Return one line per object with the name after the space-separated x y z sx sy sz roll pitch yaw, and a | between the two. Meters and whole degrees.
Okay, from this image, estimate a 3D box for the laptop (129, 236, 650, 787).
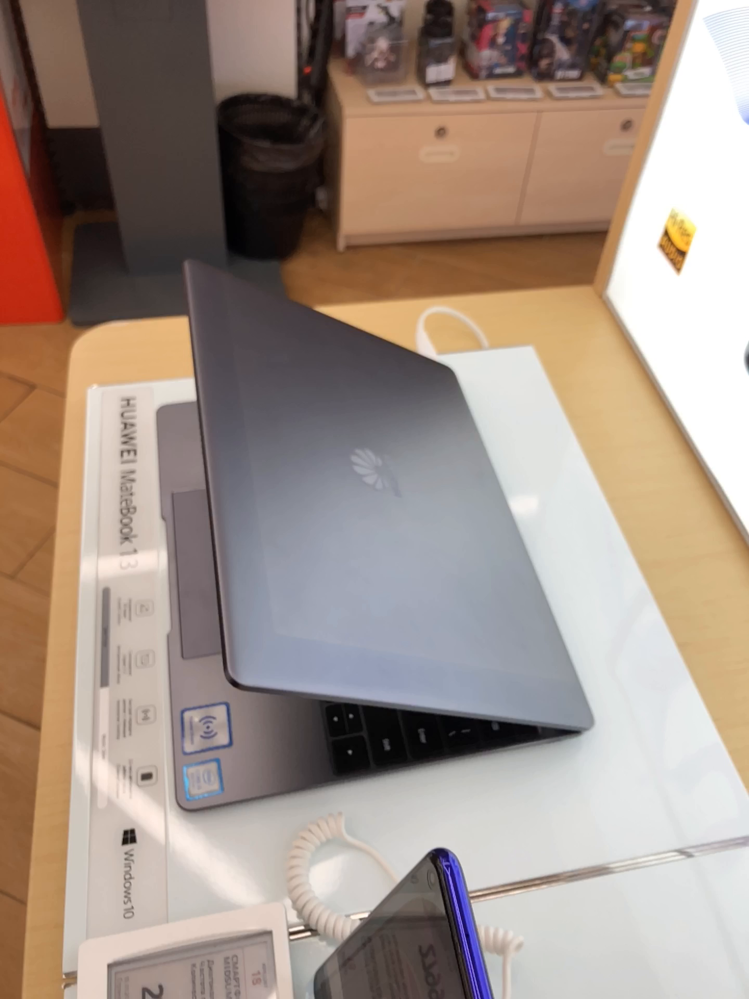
-0.016 -0.013 0.462 0.203 0.106 0.272 -9 52 -10 | laptop
